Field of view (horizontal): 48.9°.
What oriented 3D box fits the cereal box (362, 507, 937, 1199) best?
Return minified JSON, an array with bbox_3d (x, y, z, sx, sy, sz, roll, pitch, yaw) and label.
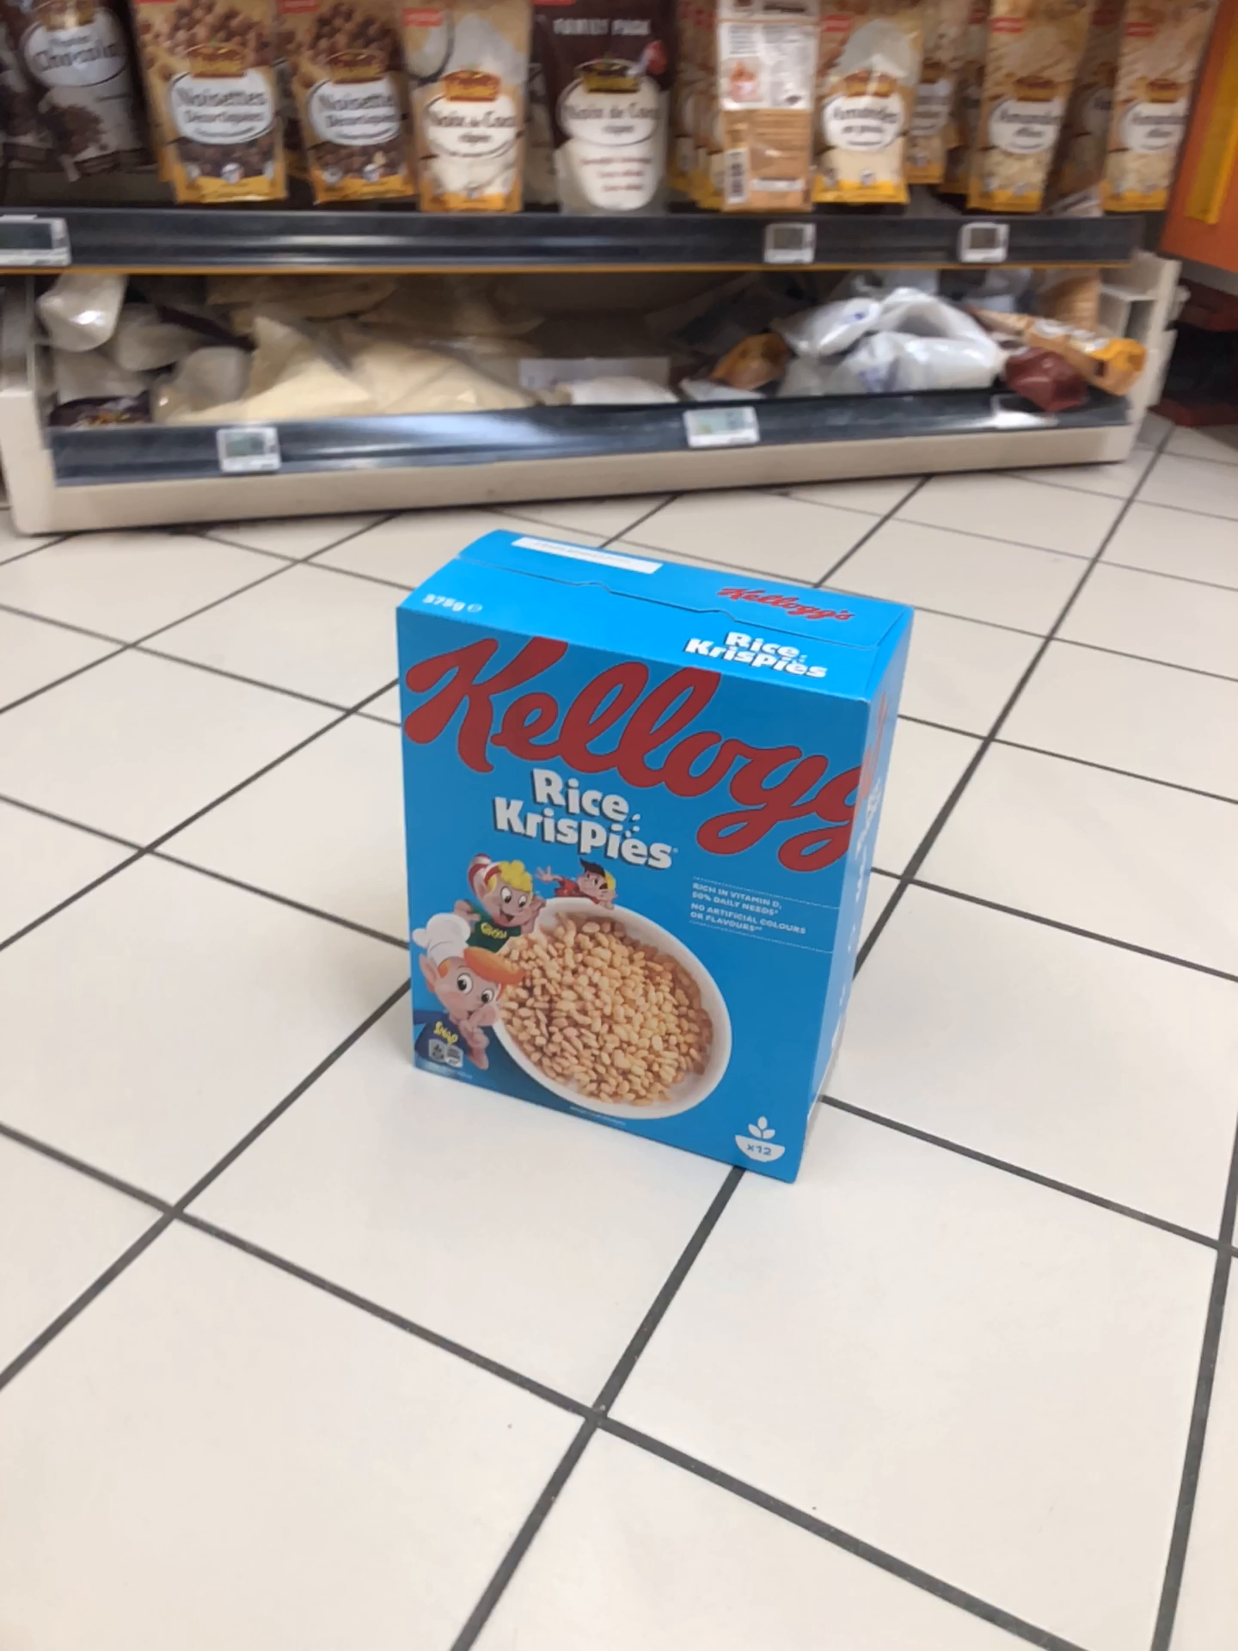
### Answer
[{"bbox_3d":[0.009,0.009,0.597,0.200,0.238,0.111,14,33,17],"label":"cereal box"}]
